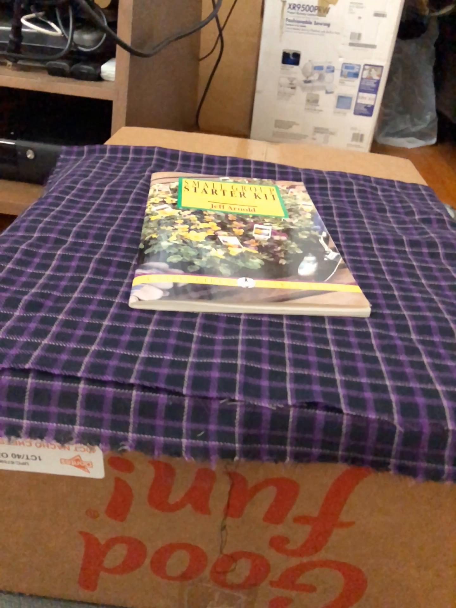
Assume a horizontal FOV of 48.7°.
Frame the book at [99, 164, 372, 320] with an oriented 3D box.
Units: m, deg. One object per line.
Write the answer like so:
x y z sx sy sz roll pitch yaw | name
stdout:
-0.001 -0.058 0.370 0.150 0.010 0.221 2 33 -6 | book
